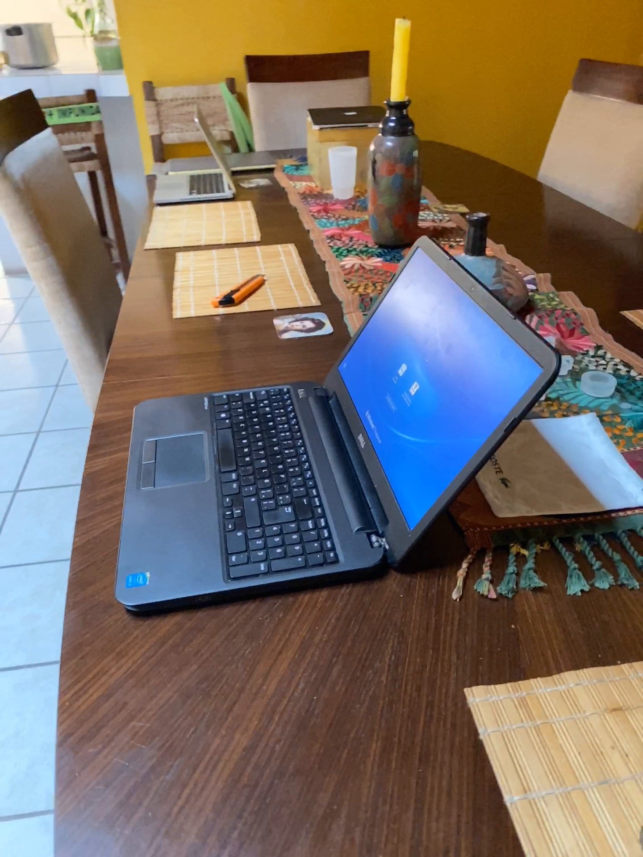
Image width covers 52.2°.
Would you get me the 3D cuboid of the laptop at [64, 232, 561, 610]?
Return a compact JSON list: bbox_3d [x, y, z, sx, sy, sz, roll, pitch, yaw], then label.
[{"bbox_3d":[-0.028,-0.045,0.717,0.395,0.194,0.369,-8,33,-8],"label":"laptop"}]
